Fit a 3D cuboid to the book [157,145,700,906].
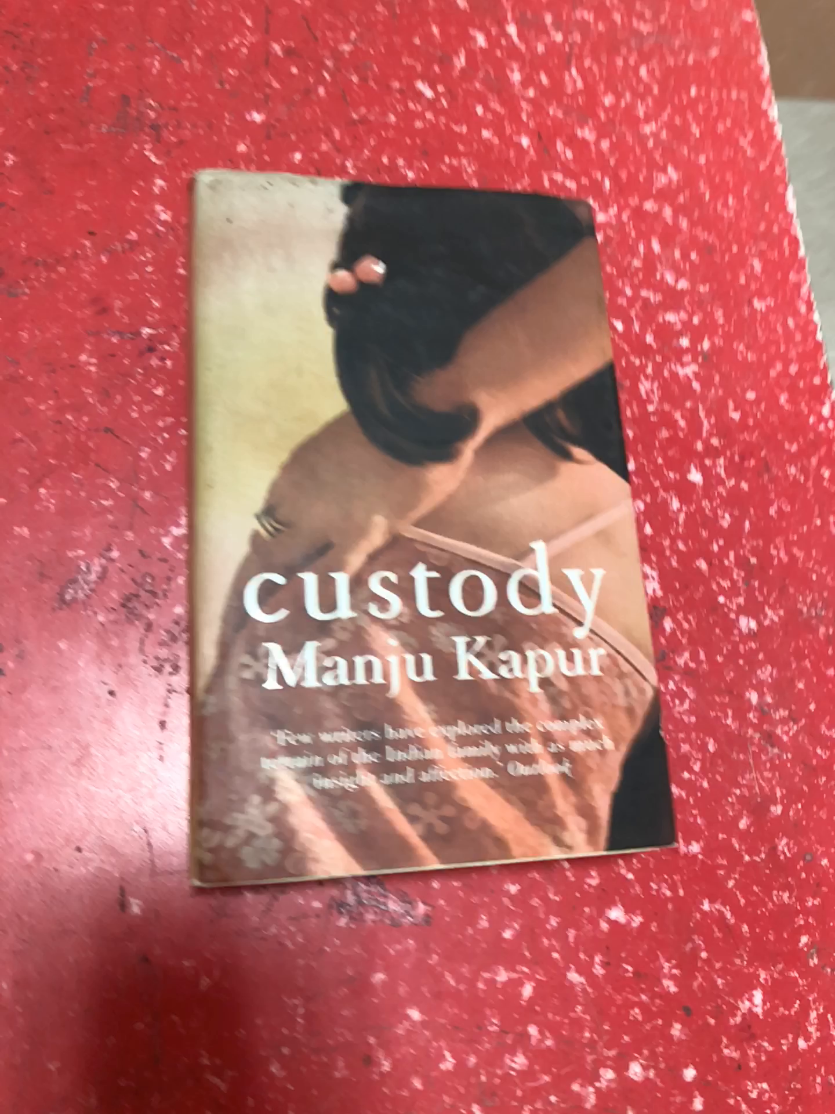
[{"bbox_3d":[-0.005,-0.018,0.289,0.140,0.040,0.220,-2,73,-12],"label":"book"}]
